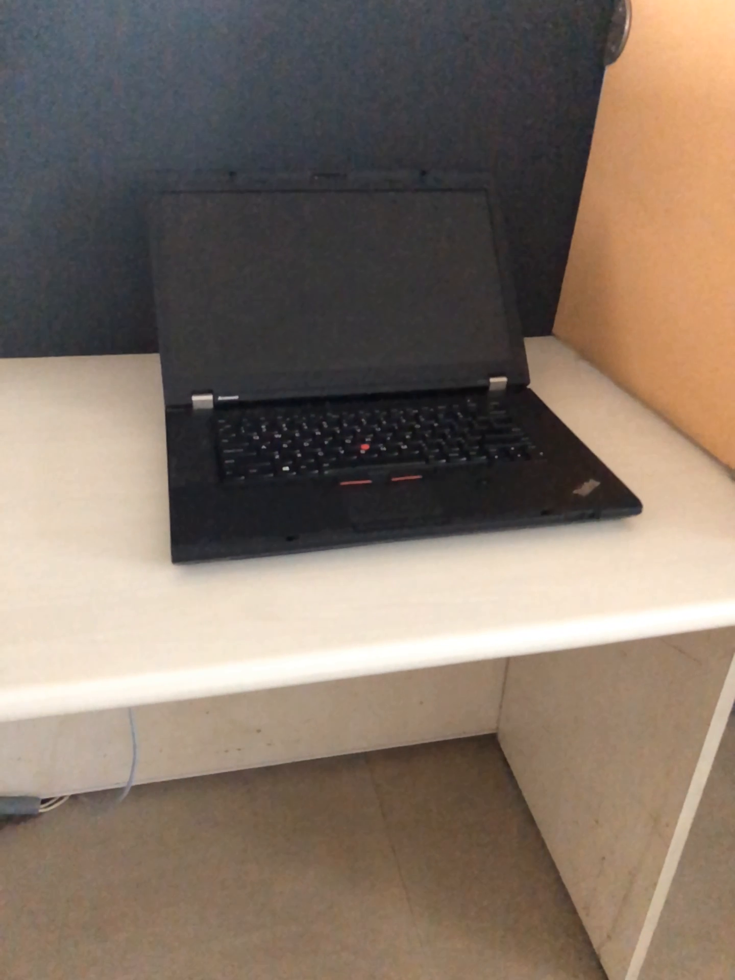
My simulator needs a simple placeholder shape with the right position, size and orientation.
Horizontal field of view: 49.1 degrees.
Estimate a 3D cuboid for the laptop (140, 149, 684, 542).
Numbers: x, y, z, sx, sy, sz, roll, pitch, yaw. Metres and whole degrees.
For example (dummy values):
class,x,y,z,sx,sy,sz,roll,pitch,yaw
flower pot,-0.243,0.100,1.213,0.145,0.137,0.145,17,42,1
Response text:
class,x,y,z,sx,sy,sz,roll,pitch,yaw
laptop,-0.005,-0.159,0.713,0.354,0.185,0.381,-4,33,-13
